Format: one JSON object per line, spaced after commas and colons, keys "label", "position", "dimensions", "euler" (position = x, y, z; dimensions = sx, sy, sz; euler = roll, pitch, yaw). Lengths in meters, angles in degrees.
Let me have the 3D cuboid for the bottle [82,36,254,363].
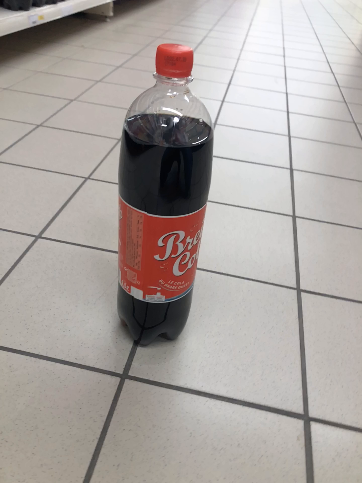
{"label": "bottle", "position": [-0.024, -0.030, 0.416], "dimensions": [0.100, 0.308, 0.101], "euler": [5, 36, -3]}
